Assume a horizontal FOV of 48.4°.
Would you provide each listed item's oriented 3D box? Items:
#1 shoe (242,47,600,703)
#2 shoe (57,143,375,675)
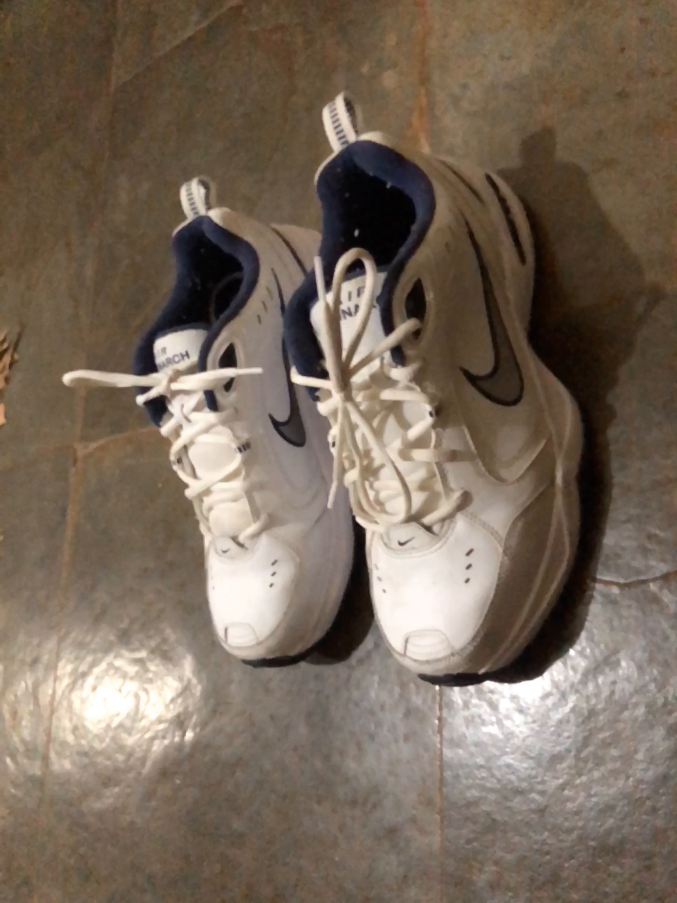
[{"bbox_3d":[0.049,-0.027,0.420,0.120,0.149,0.300,-10,73,37],"label":"shoe"},{"bbox_3d":[-0.073,-0.012,0.497,0.120,0.149,0.301,-13,71,37],"label":"shoe"}]
